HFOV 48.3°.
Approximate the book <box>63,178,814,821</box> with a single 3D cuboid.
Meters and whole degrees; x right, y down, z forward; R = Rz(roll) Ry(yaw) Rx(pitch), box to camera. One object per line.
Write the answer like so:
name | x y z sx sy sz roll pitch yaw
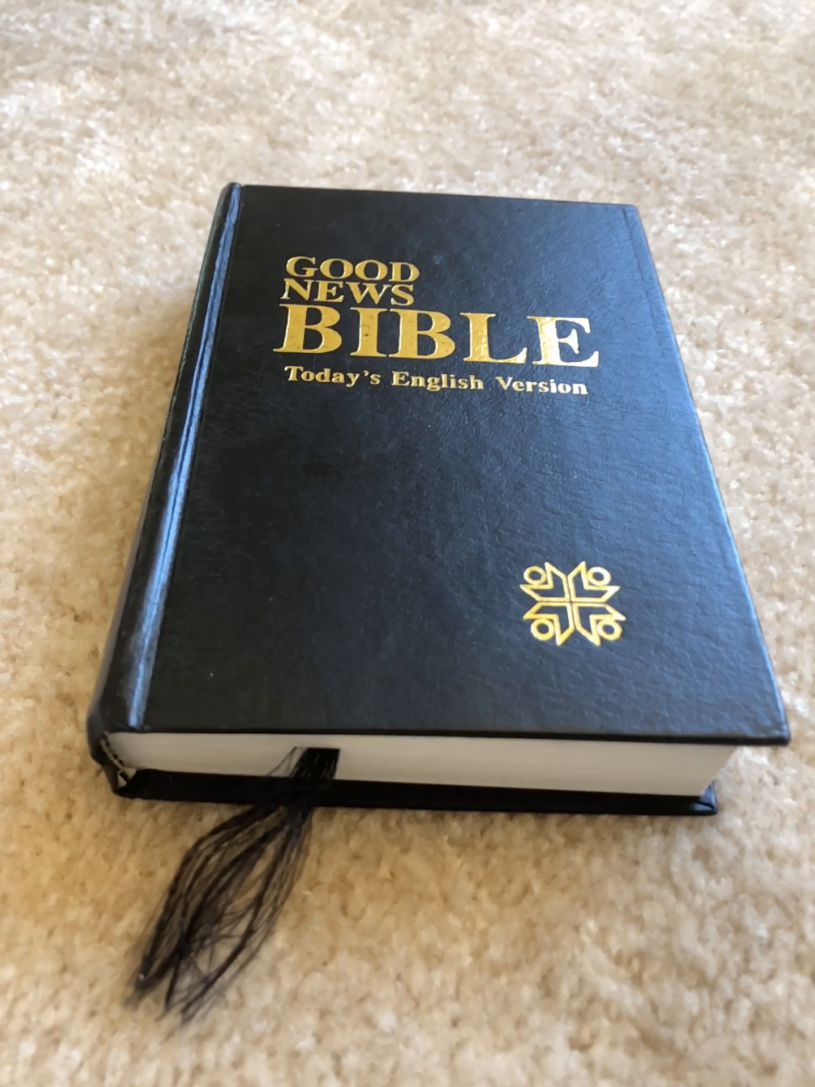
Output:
book | 0.006 -0.022 0.213 0.124 0.040 0.161 2 51 -2
